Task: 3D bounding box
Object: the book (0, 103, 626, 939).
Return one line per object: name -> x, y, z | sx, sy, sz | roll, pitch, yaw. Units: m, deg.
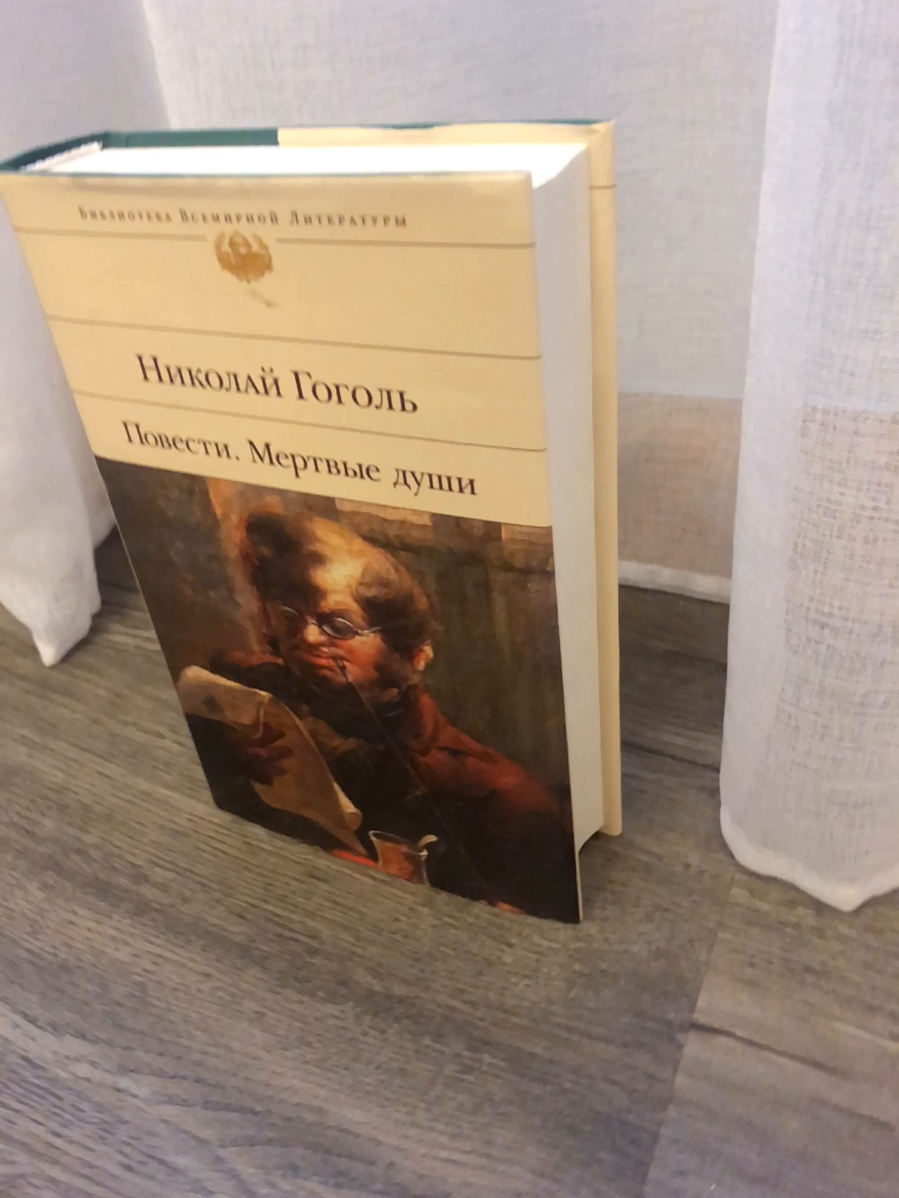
book -> -0.025, -0.012, 0.268 | 0.133, 0.209, 0.041 | 11, 39, 24
